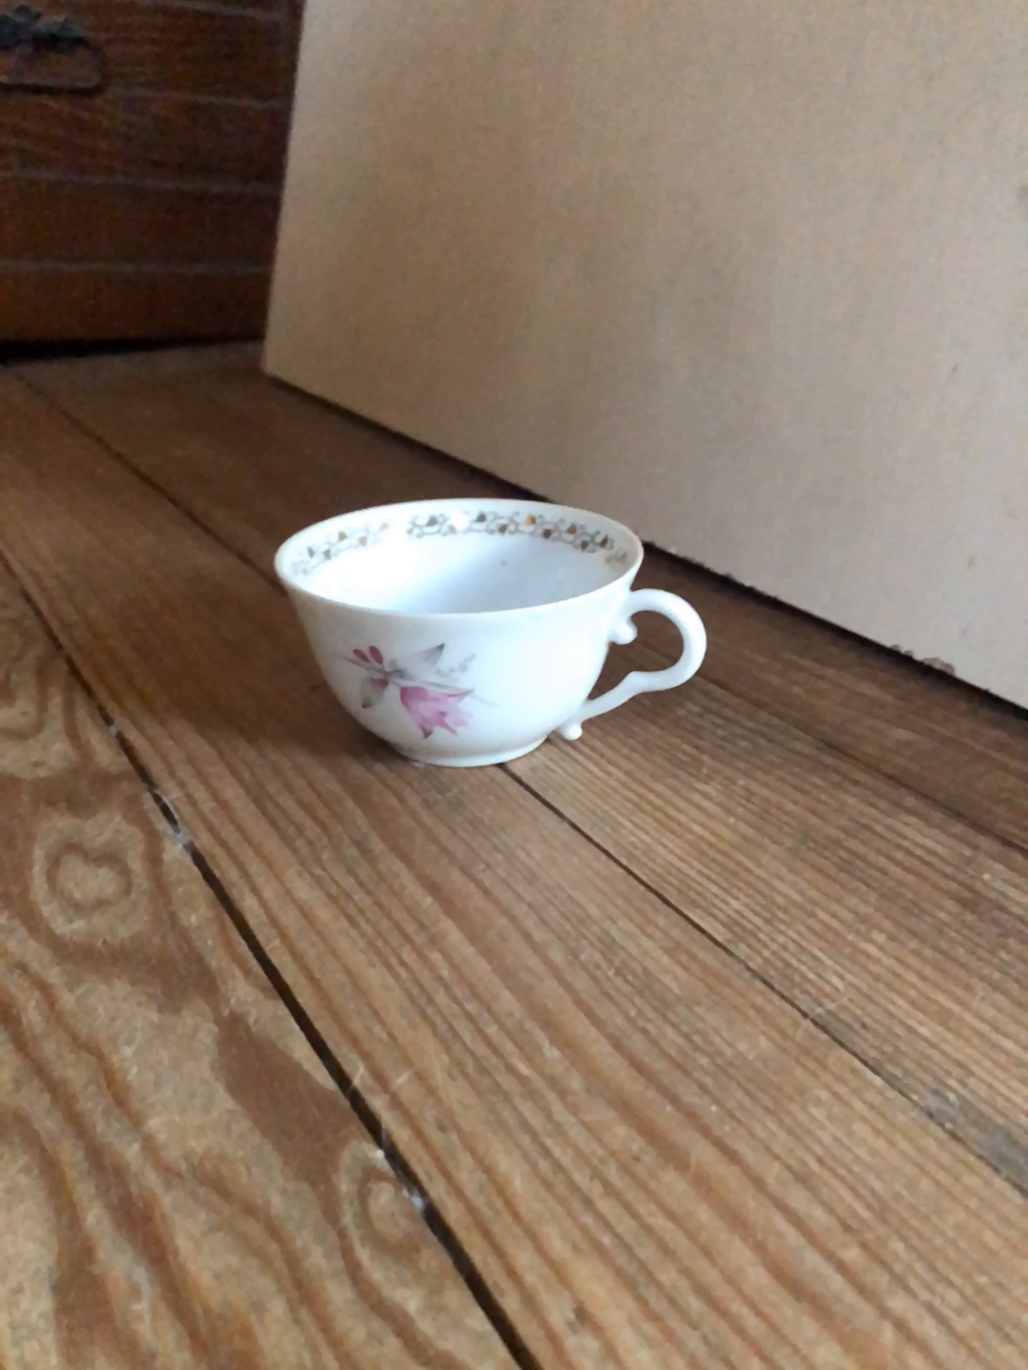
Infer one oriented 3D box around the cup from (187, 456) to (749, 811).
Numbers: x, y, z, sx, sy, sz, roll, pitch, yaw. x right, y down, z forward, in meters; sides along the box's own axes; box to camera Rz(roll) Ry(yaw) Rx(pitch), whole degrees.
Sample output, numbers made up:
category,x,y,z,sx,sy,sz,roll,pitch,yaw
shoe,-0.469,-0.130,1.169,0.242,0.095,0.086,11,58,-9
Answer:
category,x,y,z,sx,sy,sz,roll,pitch,yaw
cup,-0.006,-0.018,0.263,0.100,0.040,0.081,10,28,22
